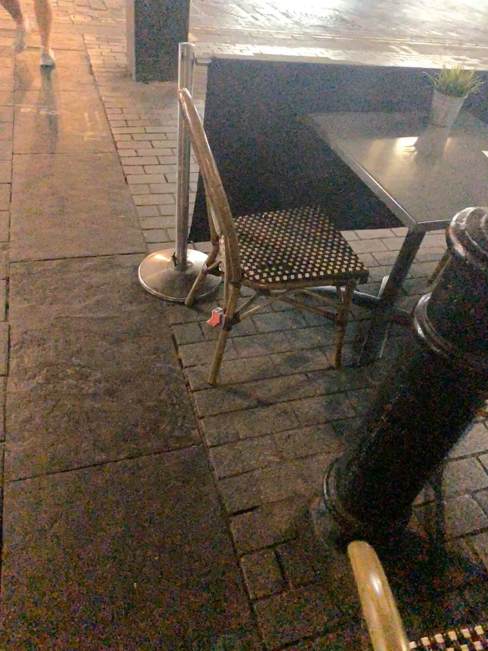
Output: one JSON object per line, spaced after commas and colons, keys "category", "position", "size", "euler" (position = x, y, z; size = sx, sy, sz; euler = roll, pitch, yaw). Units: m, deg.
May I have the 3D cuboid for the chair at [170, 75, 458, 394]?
{"category": "chair", "position": [0.122, -0.278, 1.584], "size": [0.601, 0.792, 0.515], "euler": [-7, 45, -18]}
